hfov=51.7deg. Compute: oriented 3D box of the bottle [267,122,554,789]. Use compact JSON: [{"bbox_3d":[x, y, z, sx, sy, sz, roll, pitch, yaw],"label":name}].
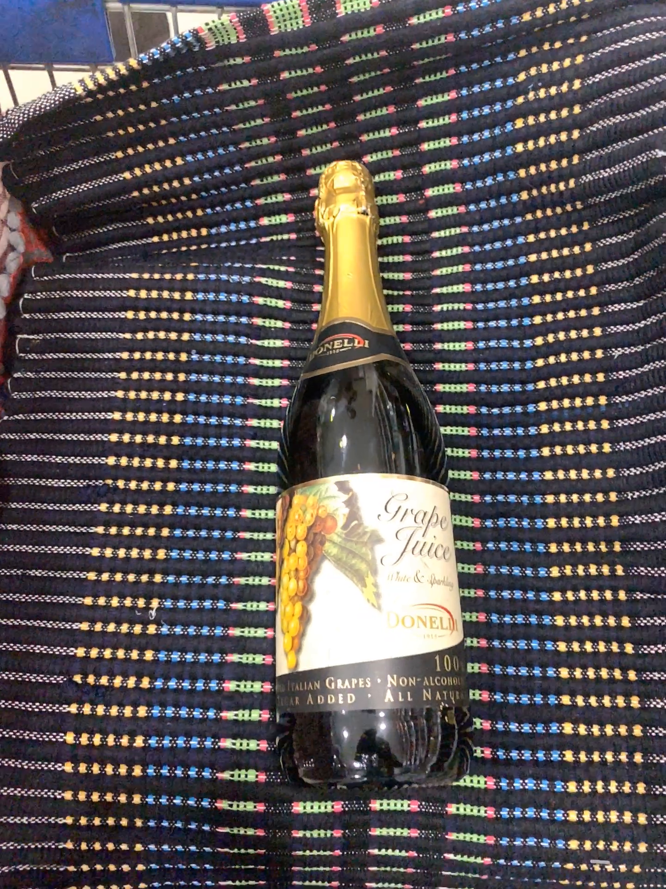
[{"bbox_3d":[0.016,-0.012,0.317,0.090,0.080,0.300,0,62,-5],"label":"bottle"}]
